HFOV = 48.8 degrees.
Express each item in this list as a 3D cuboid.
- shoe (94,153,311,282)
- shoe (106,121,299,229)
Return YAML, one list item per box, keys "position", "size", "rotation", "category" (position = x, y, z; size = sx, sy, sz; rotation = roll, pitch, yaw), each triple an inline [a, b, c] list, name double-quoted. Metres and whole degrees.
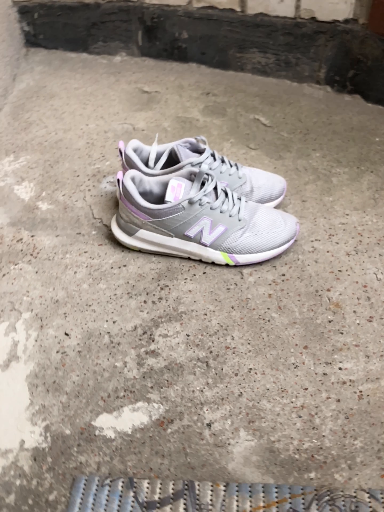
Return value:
- position: [0.016, -0.056, 0.596]
  size: [0.270, 0.099, 0.111]
  rotation: [8, 45, 4]
  category: "shoe"
- position: [0.015, -0.129, 0.664]
  size: [0.270, 0.099, 0.111]
  rotation: [5, 44, 1]
  category: "shoe"
